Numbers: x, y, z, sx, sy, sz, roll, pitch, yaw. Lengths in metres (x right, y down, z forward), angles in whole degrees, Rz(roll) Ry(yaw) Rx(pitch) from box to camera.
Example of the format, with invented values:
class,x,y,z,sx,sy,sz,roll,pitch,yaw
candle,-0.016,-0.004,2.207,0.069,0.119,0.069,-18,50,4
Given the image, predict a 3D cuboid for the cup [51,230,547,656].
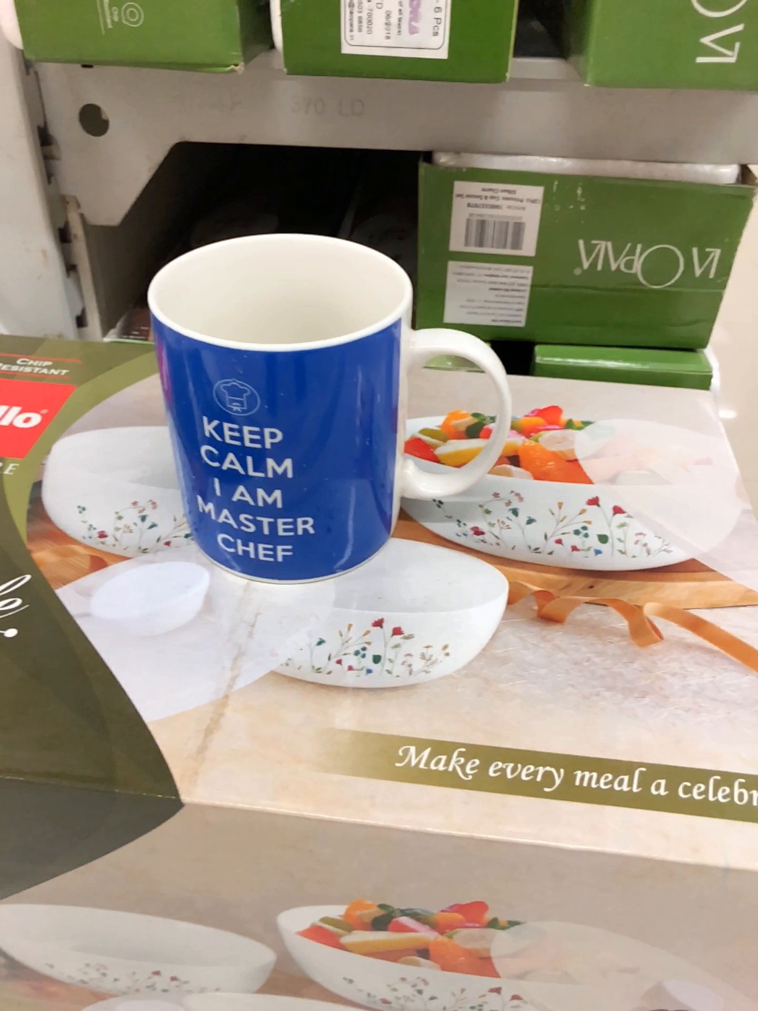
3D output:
class,x,y,z,sx,sy,sz,roll,pitch,yaw
cup,-0.019,-0.027,0.309,0.140,0.099,0.111,5,37,3
